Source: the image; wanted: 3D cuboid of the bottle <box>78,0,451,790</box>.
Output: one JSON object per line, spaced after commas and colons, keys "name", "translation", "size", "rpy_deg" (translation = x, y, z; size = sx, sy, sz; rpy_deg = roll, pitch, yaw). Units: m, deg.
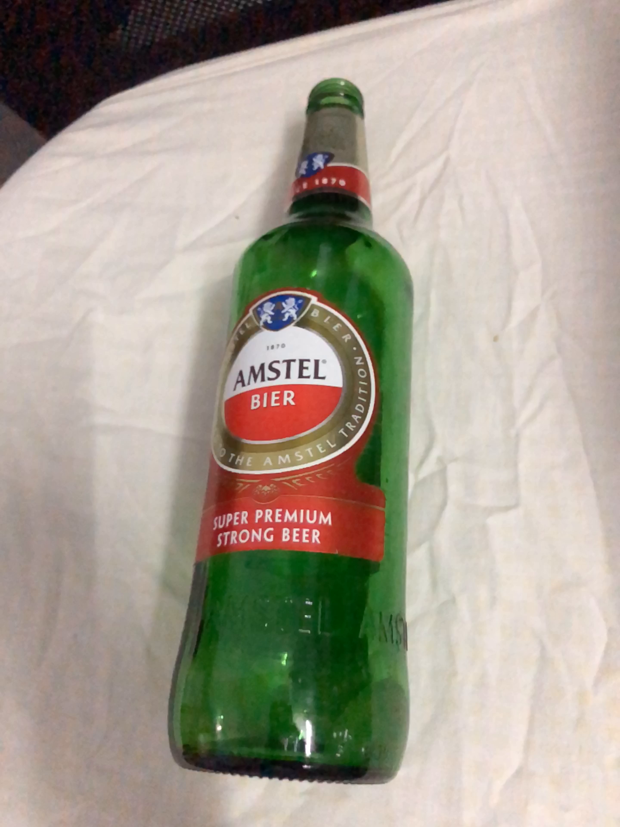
{"name": "bottle", "translation": [0.008, -0.051, 0.293], "size": [0.090, 0.080, 0.361], "rpy_deg": [-3, 62, 17]}
